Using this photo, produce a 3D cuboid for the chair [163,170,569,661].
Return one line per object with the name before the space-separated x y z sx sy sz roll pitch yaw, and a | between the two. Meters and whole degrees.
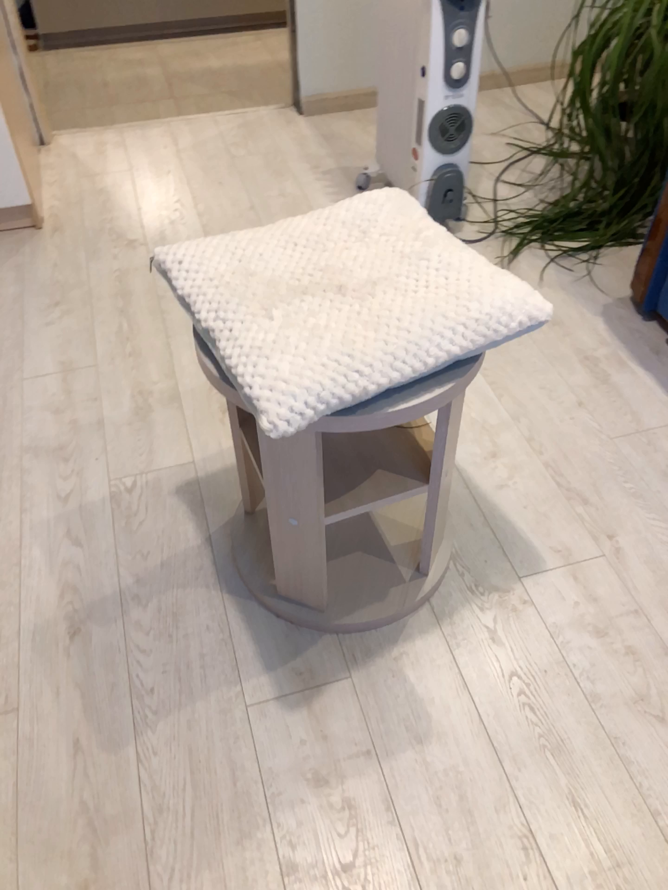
chair | 0.014 -0.033 1.074 0.400 0.546 0.382 -11 46 -10
